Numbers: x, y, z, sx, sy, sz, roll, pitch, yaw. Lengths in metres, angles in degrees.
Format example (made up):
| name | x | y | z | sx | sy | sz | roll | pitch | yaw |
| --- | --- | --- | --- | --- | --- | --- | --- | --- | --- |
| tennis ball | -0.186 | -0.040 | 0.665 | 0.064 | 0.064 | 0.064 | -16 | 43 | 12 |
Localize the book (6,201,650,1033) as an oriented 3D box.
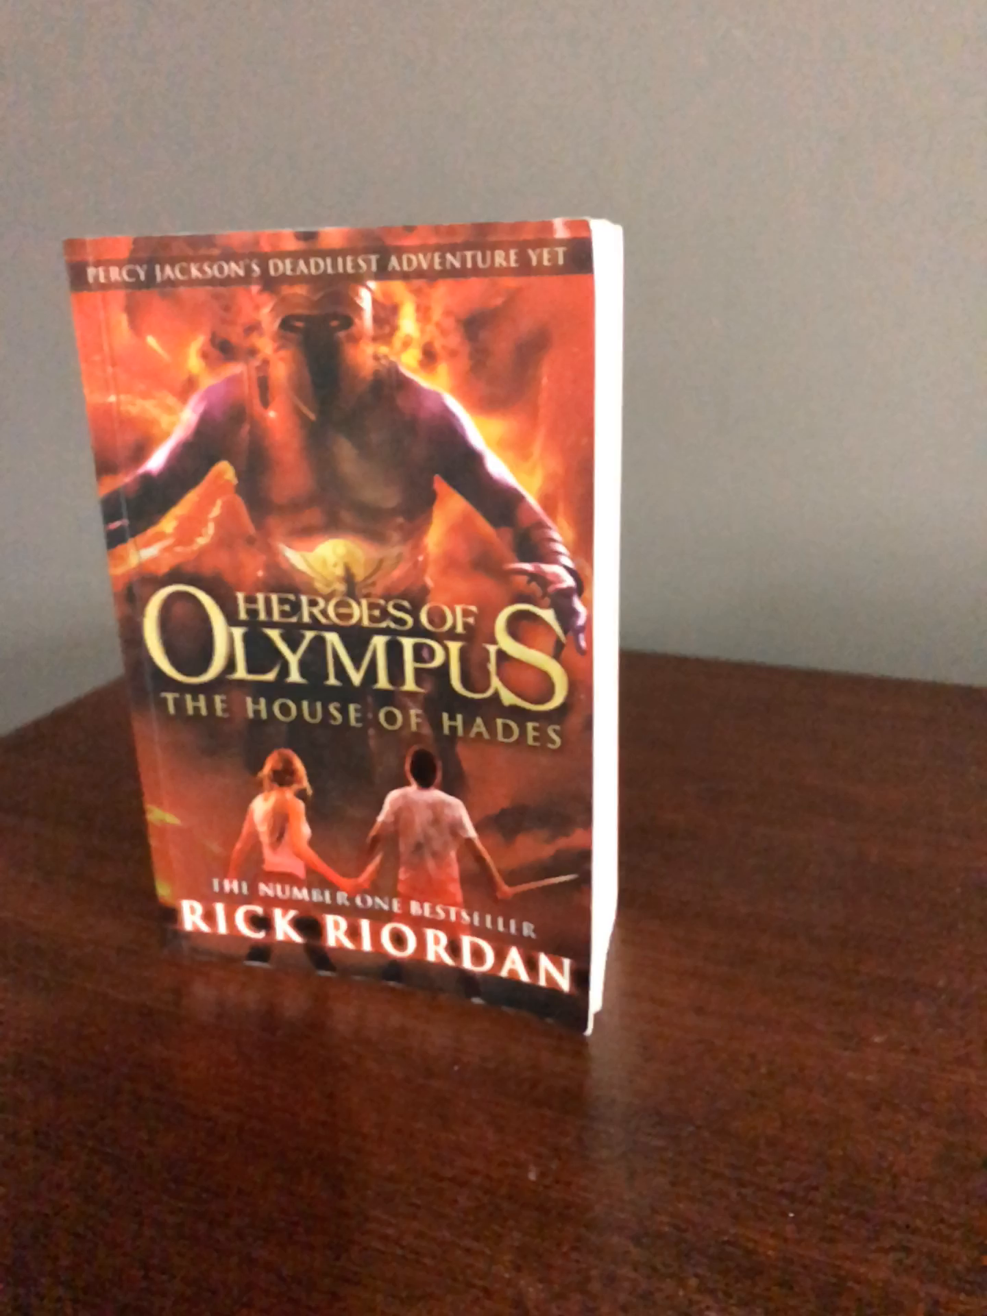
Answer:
| name | x | y | z | sx | sy | sz | roll | pitch | yaw |
| --- | --- | --- | --- | --- | --- | --- | --- | --- | --- |
| book | -0.034 | -0.012 | 0.297 | 0.140 | 0.199 | 0.060 | 4 | 20 | 14 |
